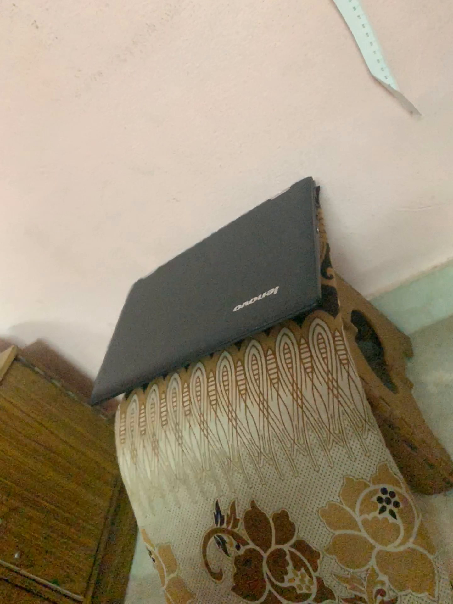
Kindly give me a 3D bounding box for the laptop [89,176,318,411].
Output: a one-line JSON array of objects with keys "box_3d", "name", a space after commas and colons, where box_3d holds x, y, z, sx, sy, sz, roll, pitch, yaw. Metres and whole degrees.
[{"box_3d": [-0.031, -0.009, 0.569, 0.313, 0.012, 0.214, -27, 36, 30], "name": "laptop"}]
